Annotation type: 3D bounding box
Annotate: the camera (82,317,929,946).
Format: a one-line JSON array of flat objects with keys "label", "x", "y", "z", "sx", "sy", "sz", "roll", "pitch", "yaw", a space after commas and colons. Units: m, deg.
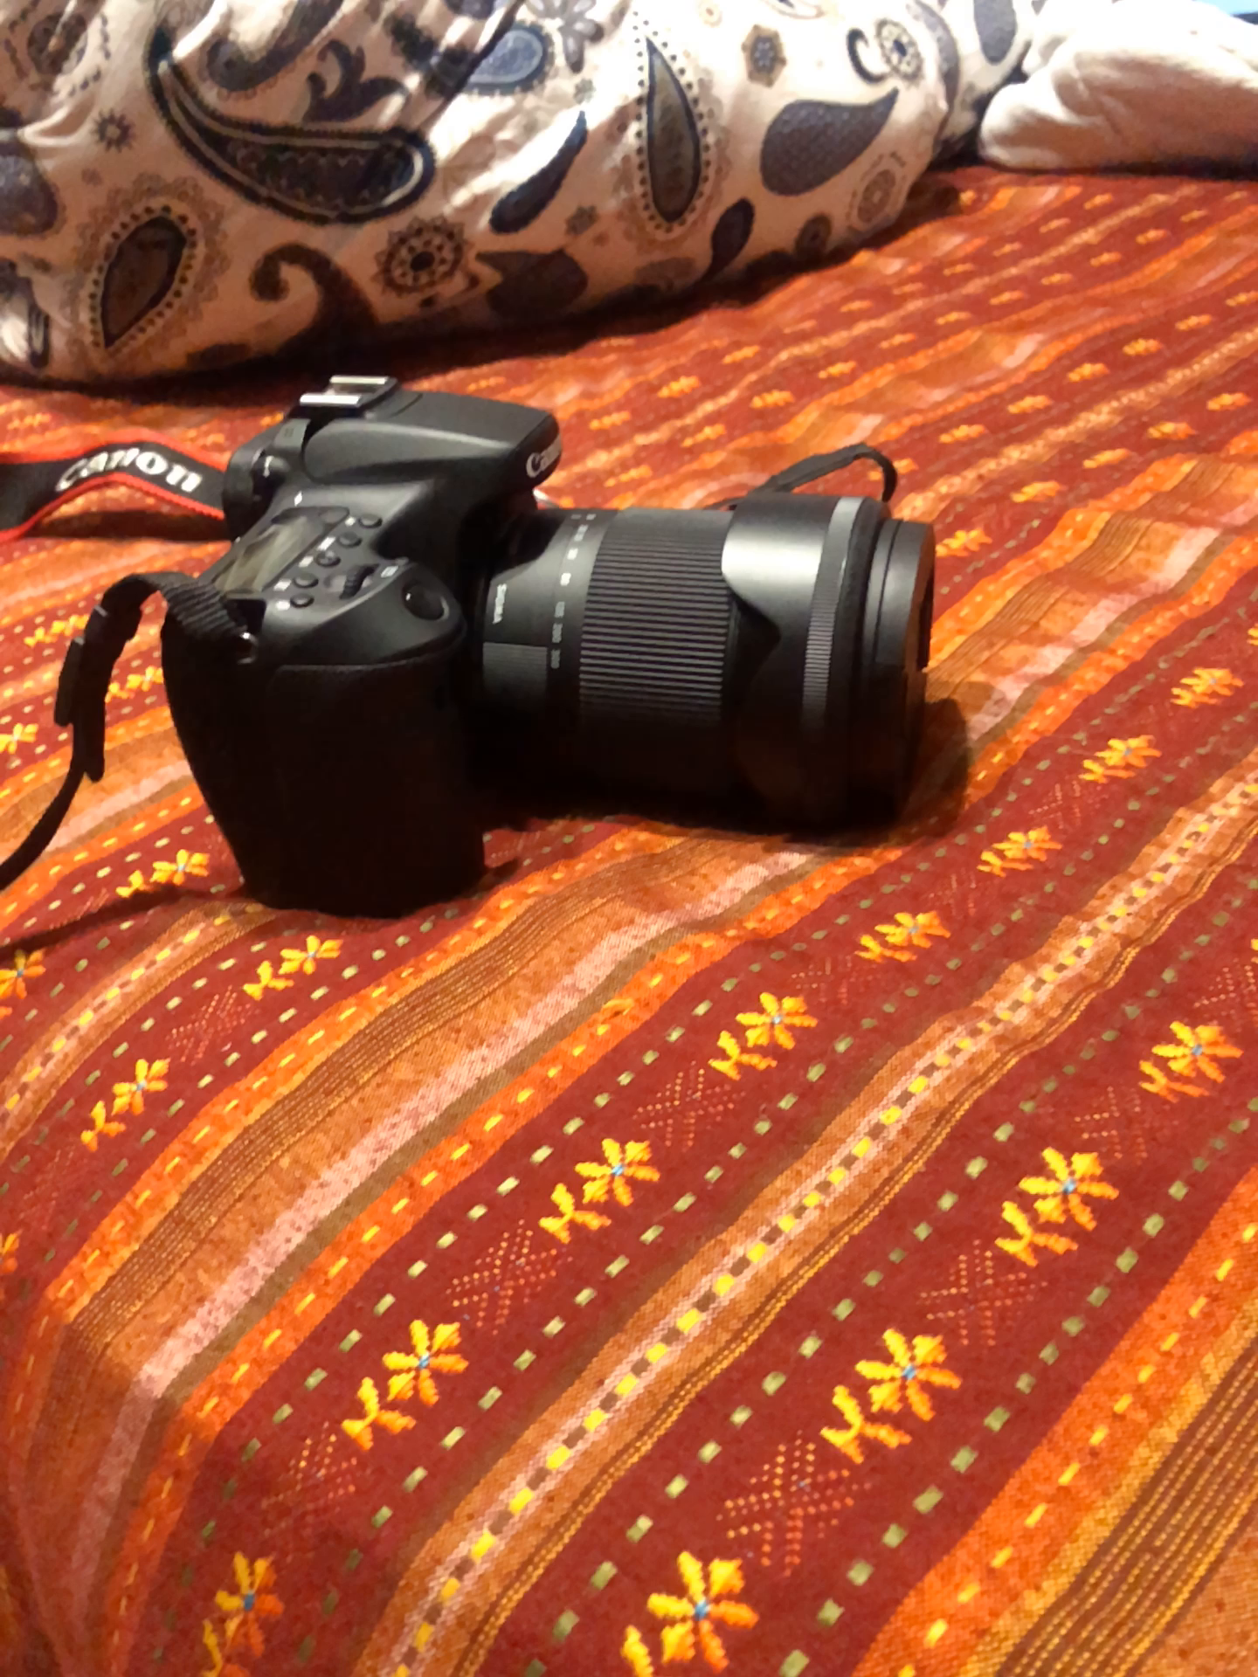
[{"label": "camera", "x": -0.013, "y": -0.056, "z": 0.353, "sx": 0.170, "sy": 0.099, "sz": 0.131, "roll": 1, "pitch": 36, "yaw": 14}]
